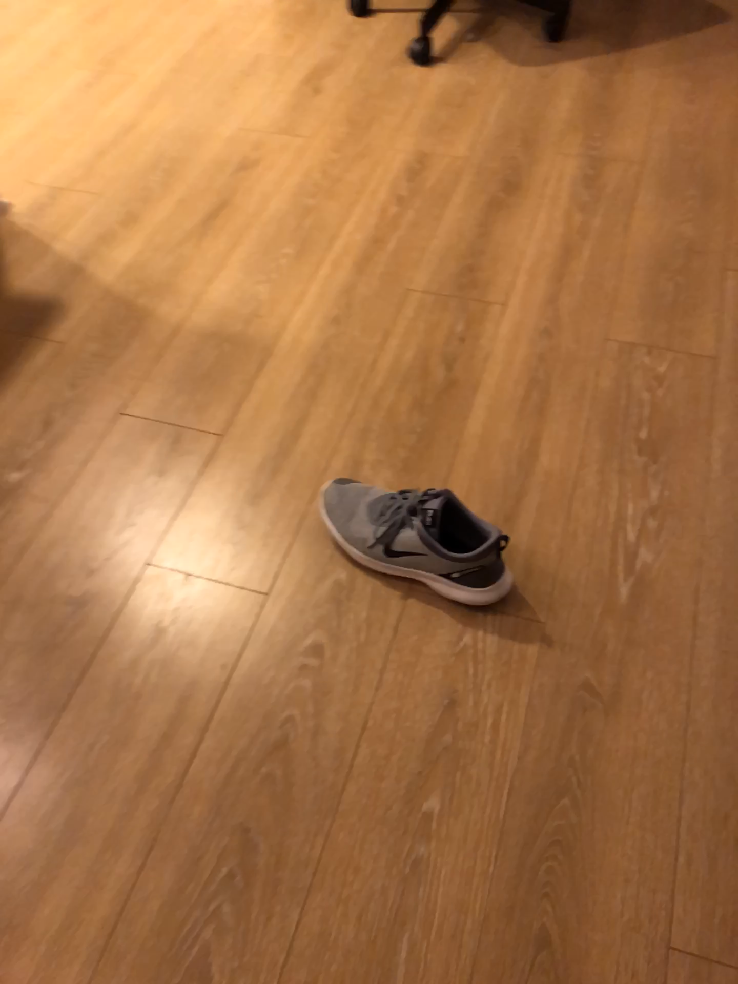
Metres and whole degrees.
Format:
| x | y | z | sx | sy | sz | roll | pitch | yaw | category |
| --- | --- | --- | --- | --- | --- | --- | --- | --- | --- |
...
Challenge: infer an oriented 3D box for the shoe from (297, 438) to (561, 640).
| x | y | z | sx | sy | sz | roll | pitch | yaw | category |
| --- | --- | --- | --- | --- | --- | --- | --- | --- | --- |
| 0.078 | 0.056 | 1.105 | 0.320 | 0.080 | 0.140 | 24 | 56 | 20 | shoe |
